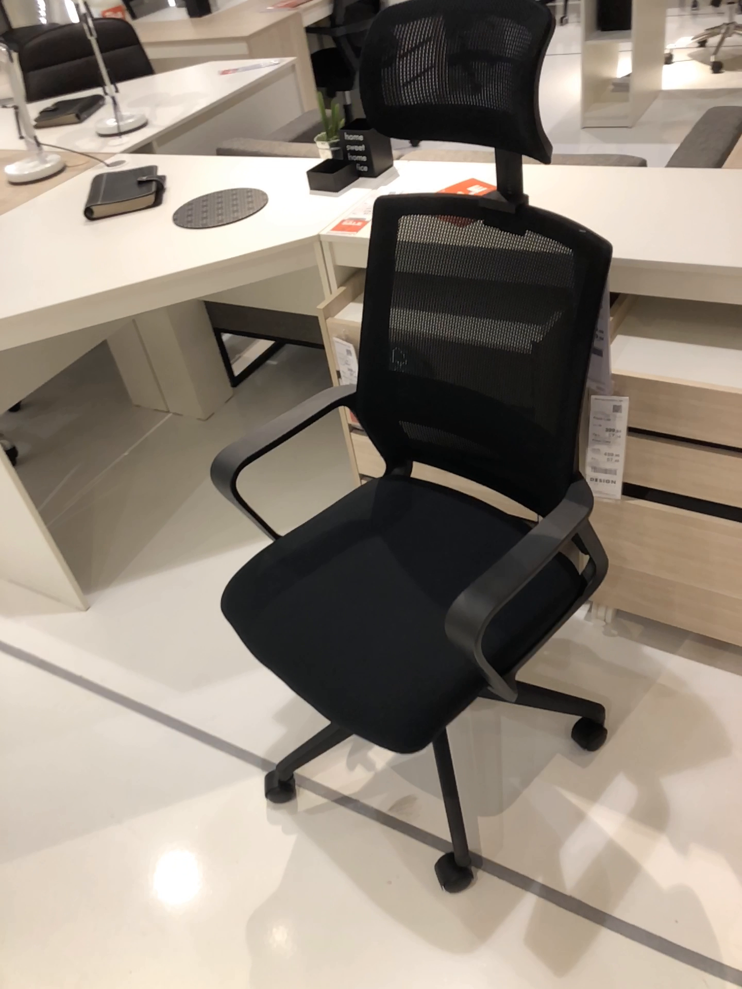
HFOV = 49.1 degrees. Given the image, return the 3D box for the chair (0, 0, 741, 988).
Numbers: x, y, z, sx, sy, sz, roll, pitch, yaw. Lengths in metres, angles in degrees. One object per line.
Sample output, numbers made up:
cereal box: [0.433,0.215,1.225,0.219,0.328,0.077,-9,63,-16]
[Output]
chair: [0.013,-0.020,1.166,0.663,1.131,0.662,26,53,38]
